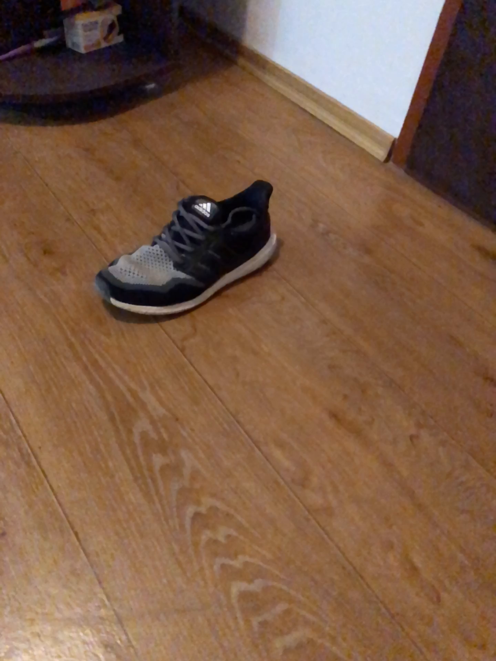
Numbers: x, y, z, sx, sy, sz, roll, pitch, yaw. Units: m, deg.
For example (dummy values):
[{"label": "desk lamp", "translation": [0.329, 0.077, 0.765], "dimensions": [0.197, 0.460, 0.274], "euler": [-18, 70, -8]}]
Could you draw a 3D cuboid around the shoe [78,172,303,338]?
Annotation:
[{"label": "shoe", "translation": [-0.072, -0.112, 0.739], "dimensions": [0.271, 0.099, 0.114], "euler": [-25, 55, -28]}]
